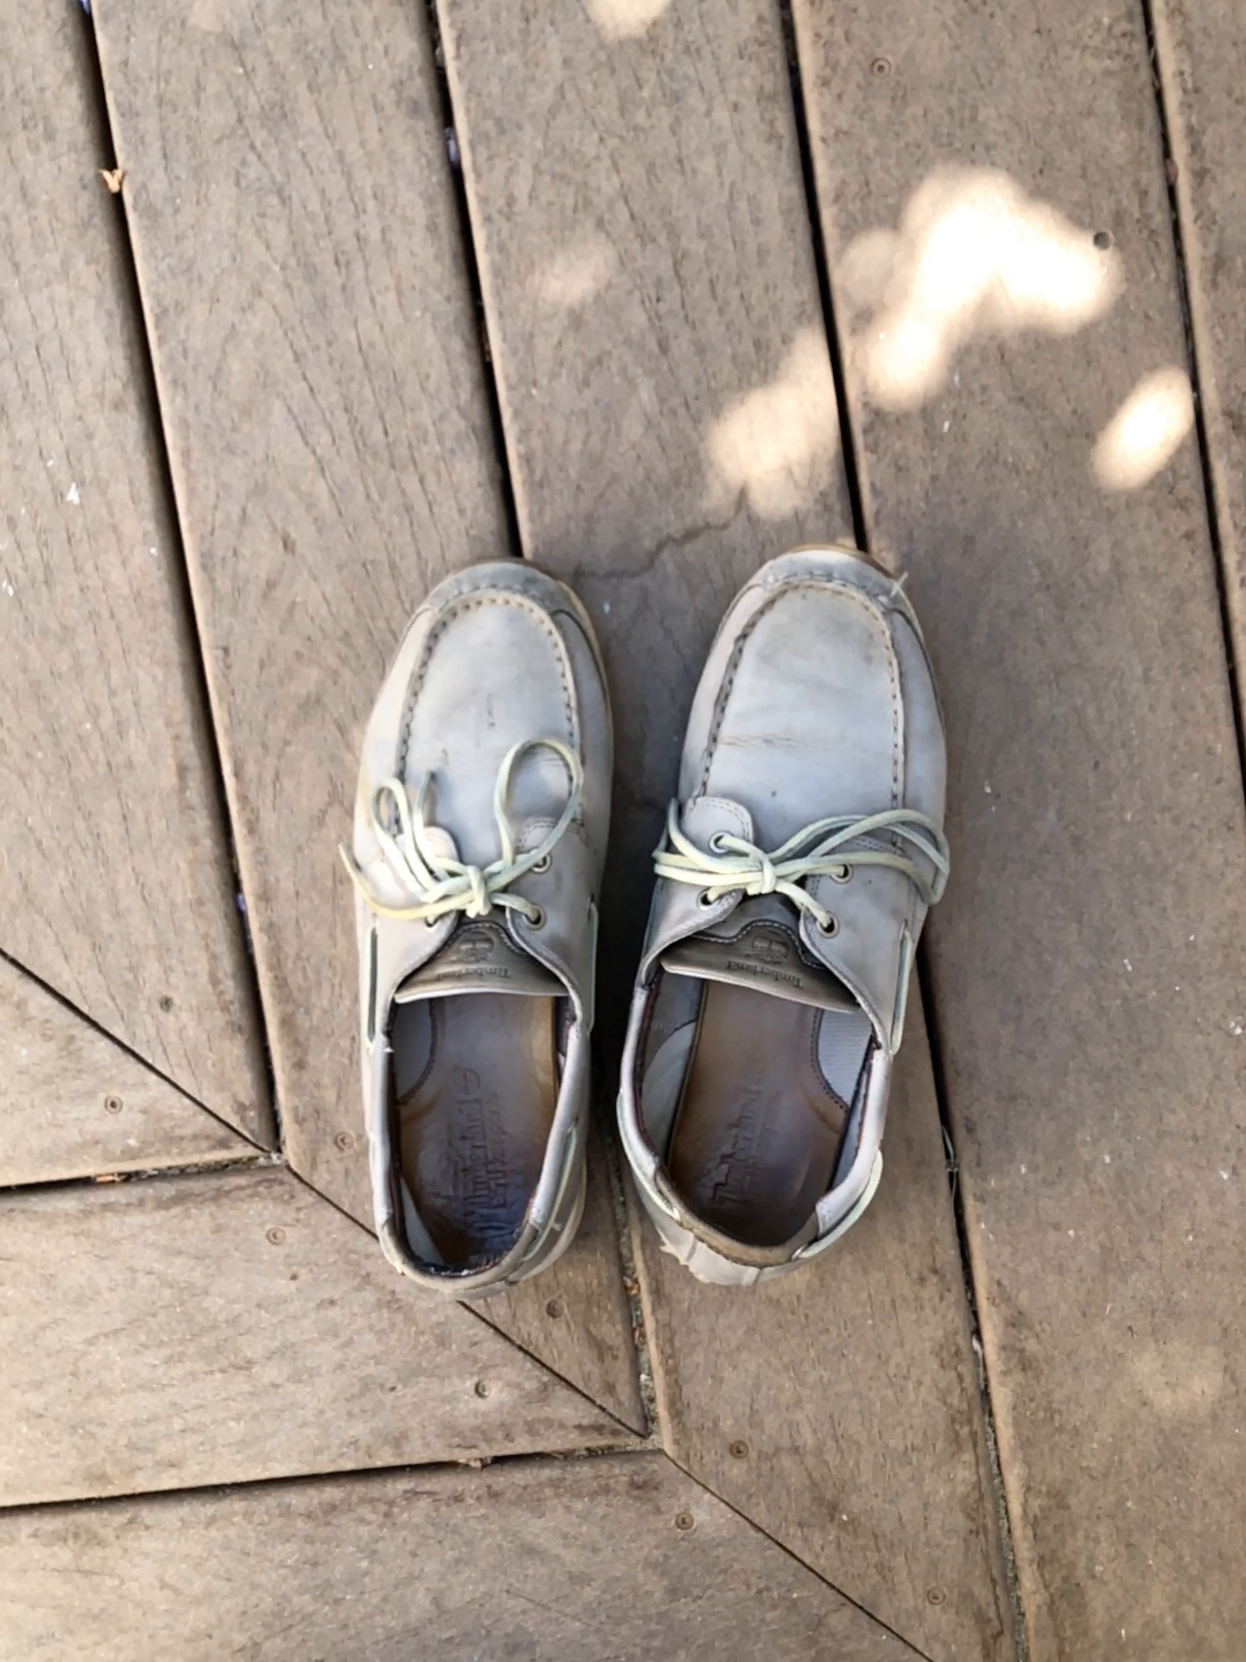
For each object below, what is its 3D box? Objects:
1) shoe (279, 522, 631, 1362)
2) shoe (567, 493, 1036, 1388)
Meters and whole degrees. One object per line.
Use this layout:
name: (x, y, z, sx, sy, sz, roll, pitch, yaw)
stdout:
shoe: (-0.061, 0.042, 0.559, 0.119, 0.096, 0.310, -1, 92, 4)
shoe: (0.066, 0.039, 0.551, 0.121, 0.098, 0.312, 9, 93, 3)
